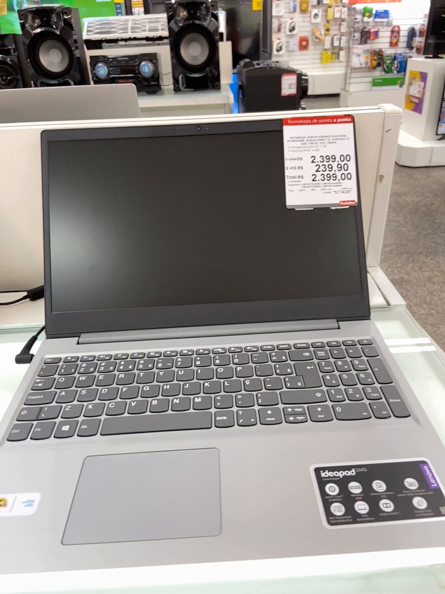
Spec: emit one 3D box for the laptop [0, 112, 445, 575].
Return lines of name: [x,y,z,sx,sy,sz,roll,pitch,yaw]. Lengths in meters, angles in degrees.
laptop: [-0.019,-0.020,0.420,0.369,0.192,0.404,-3,32,0]
